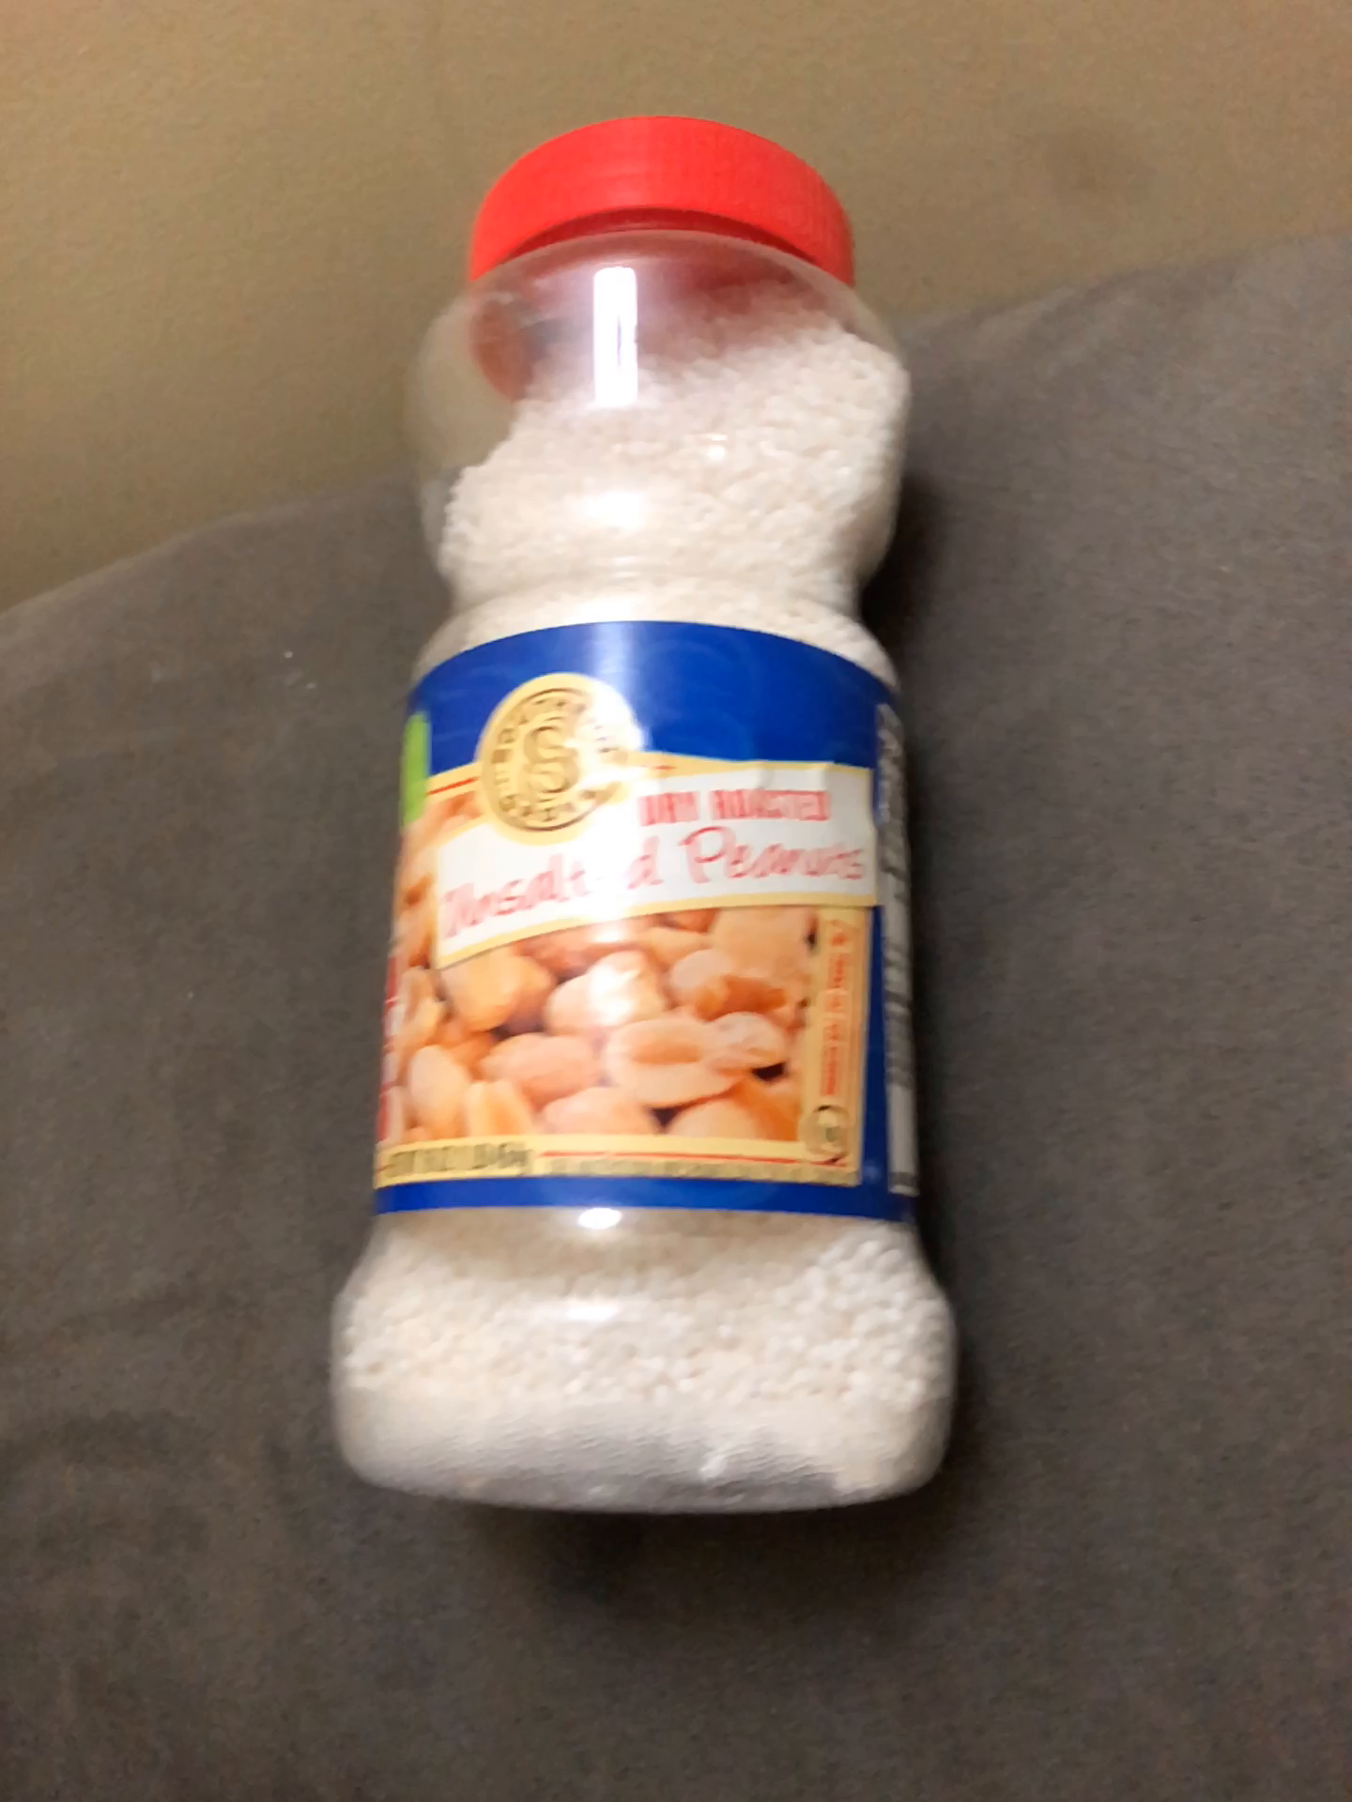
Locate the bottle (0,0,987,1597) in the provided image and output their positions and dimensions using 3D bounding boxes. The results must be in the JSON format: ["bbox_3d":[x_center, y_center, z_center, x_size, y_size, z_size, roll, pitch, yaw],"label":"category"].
[{"bbox_3d":[-0.015,-0.027,0.226,0.096,0.090,0.220,-6,71,29],"label":"bottle"}]
